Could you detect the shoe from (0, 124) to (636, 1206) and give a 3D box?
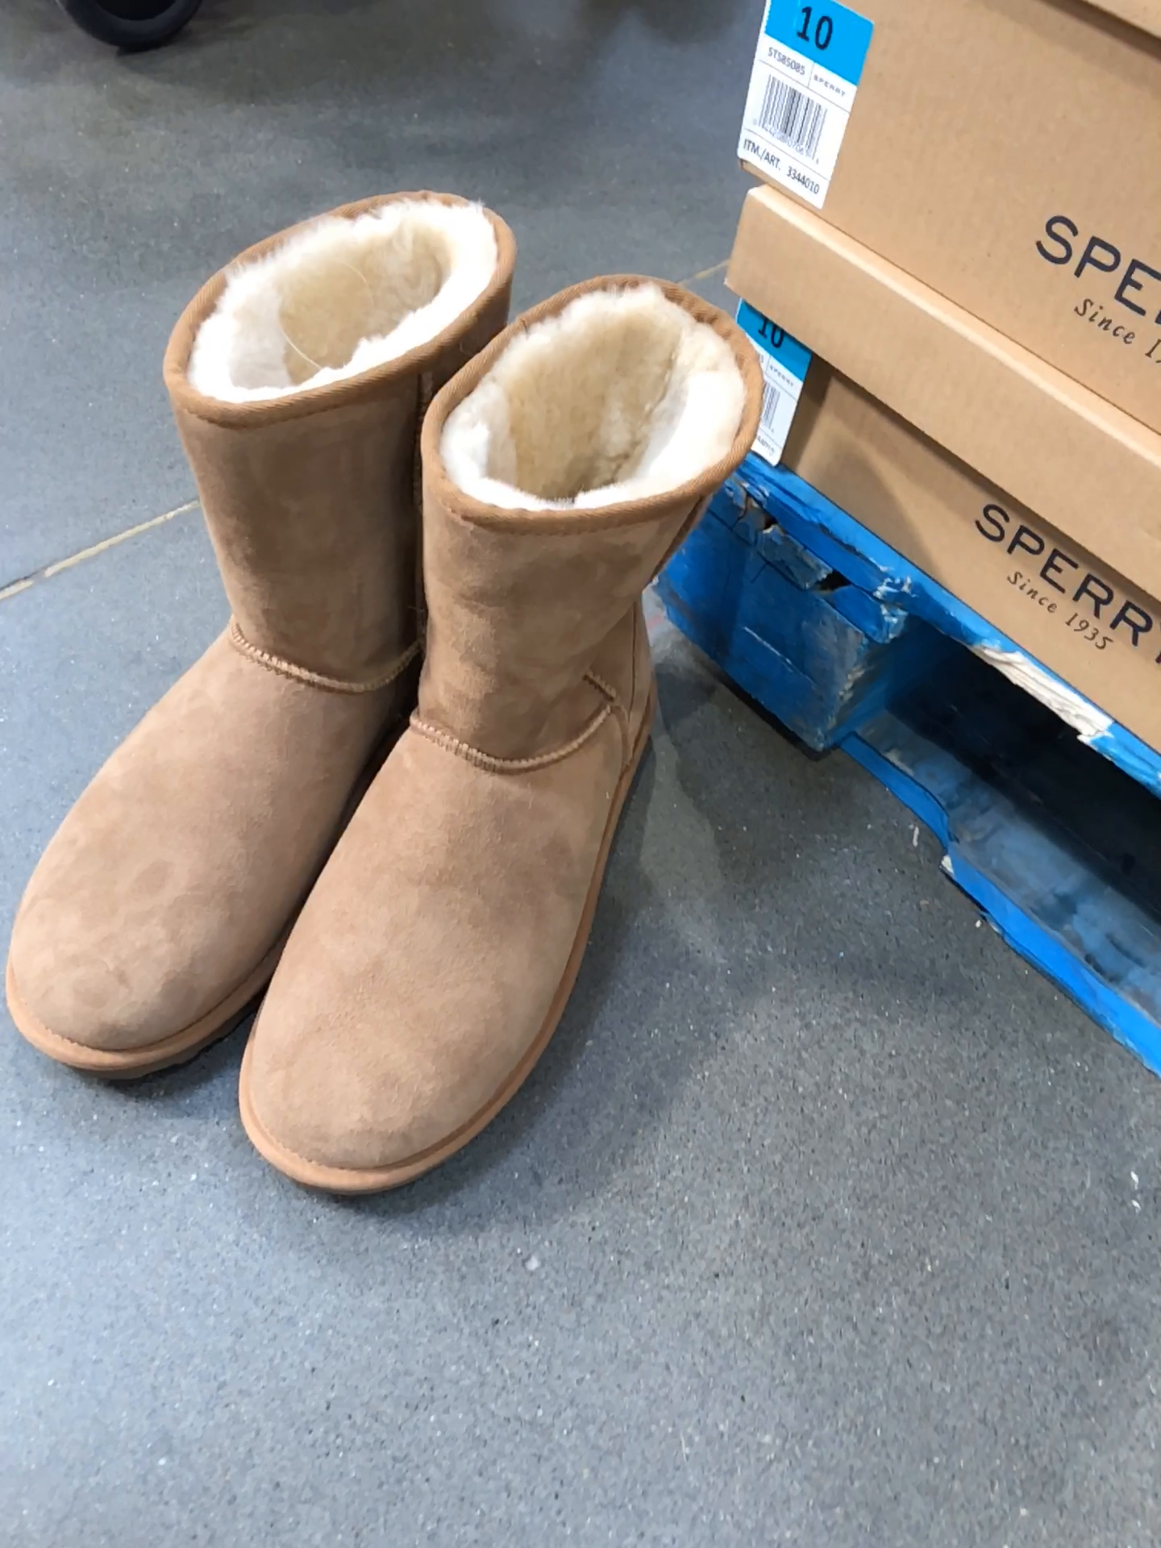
[{"bbox_3d":[-0.119,-0.042,0.501,0.130,0.259,0.311,25,55,12],"label":"shoe"}]

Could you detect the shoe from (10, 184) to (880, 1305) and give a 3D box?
[{"bbox_3d":[-0.026,-0.010,0.486,0.130,0.259,0.311,22,54,10],"label":"shoe"}]
